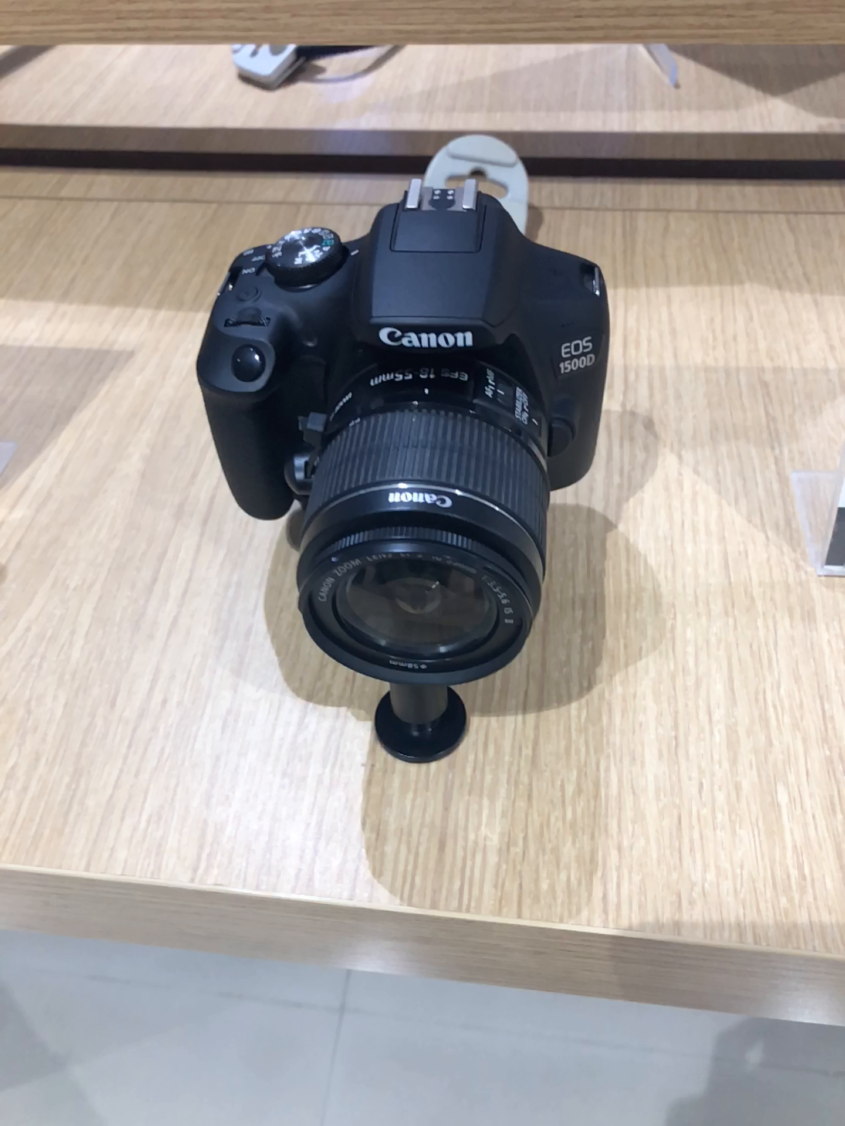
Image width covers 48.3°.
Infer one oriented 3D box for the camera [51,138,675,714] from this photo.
[{"bbox_3d":[-0.003,-0.046,0.272,0.130,0.089,0.141,4,49,7],"label":"camera"}]
